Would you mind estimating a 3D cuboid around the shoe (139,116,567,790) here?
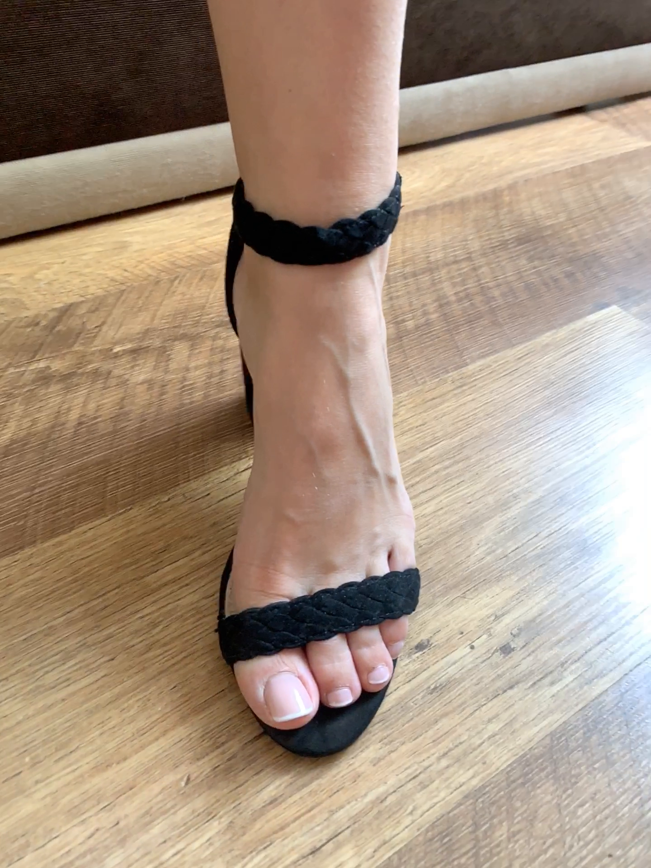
[{"bbox_3d":[-0.009,-0.010,0.274,0.090,0.149,0.231,-3,44,-6],"label":"shoe"}]
